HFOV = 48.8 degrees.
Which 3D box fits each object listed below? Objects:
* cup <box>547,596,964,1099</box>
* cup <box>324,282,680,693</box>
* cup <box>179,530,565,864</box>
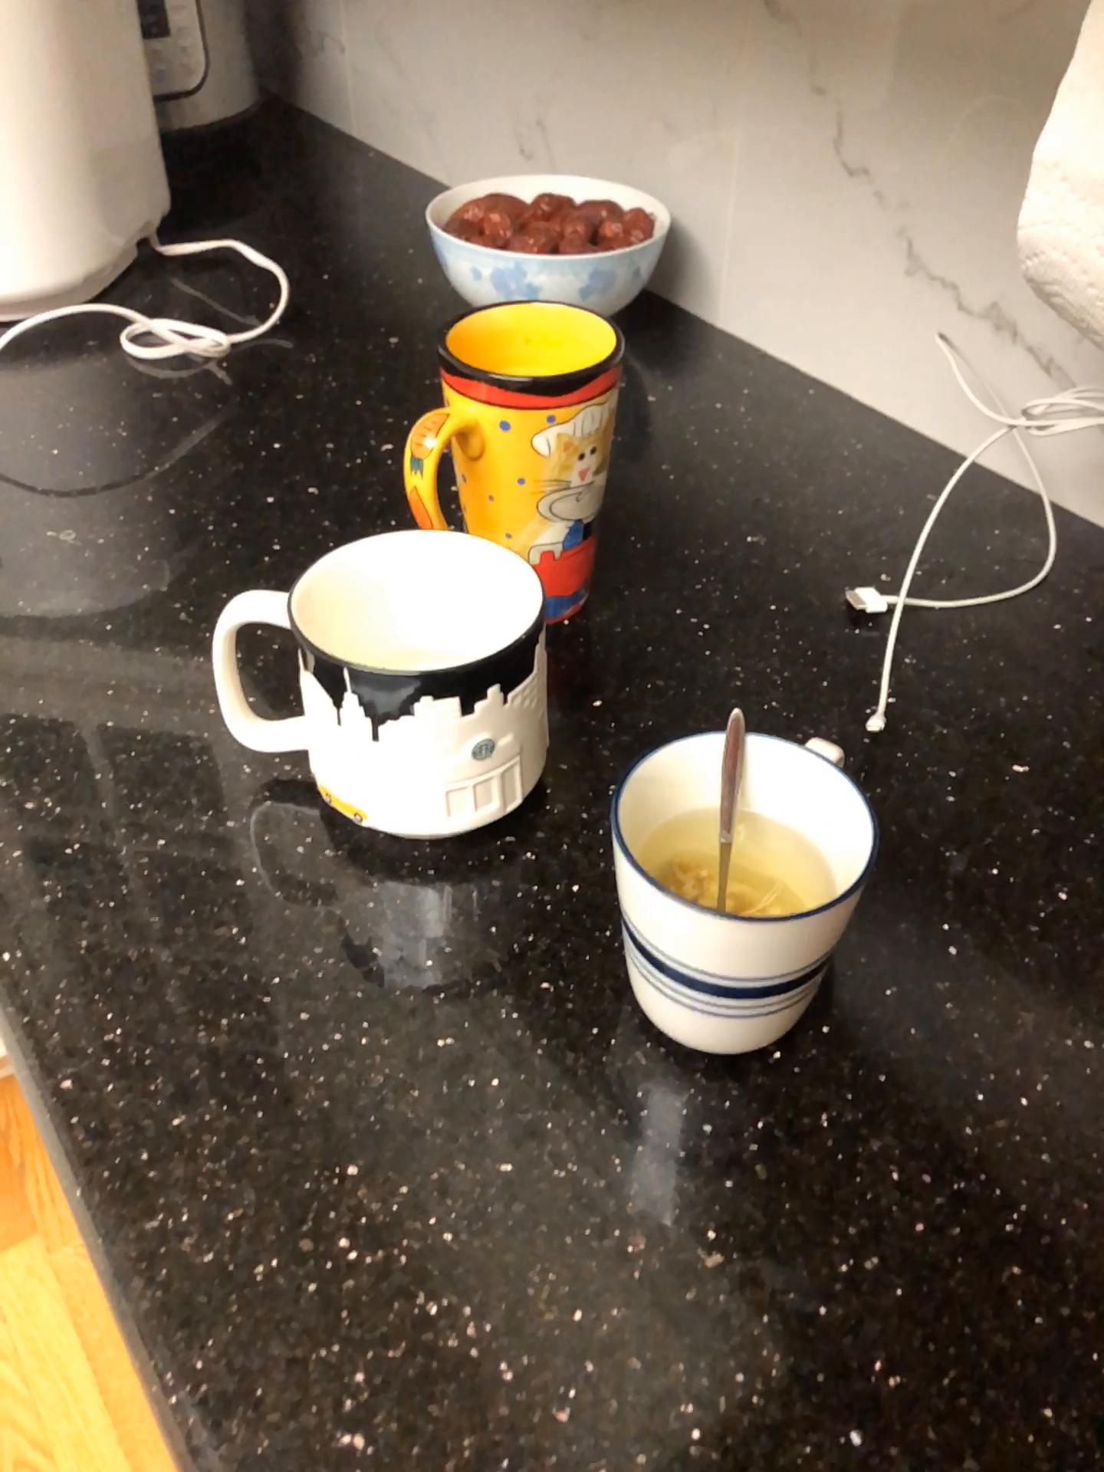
[{"bbox_3d":[0.071,0.033,0.429,0.090,0.090,0.131,22,45,23],"label":"cup"},{"bbox_3d":[-0.020,-0.124,0.588,0.090,0.129,0.140,28,48,28],"label":"cup"},{"bbox_3d":[-0.065,-0.018,0.512,0.140,0.090,0.111,1,41,0],"label":"cup"}]
